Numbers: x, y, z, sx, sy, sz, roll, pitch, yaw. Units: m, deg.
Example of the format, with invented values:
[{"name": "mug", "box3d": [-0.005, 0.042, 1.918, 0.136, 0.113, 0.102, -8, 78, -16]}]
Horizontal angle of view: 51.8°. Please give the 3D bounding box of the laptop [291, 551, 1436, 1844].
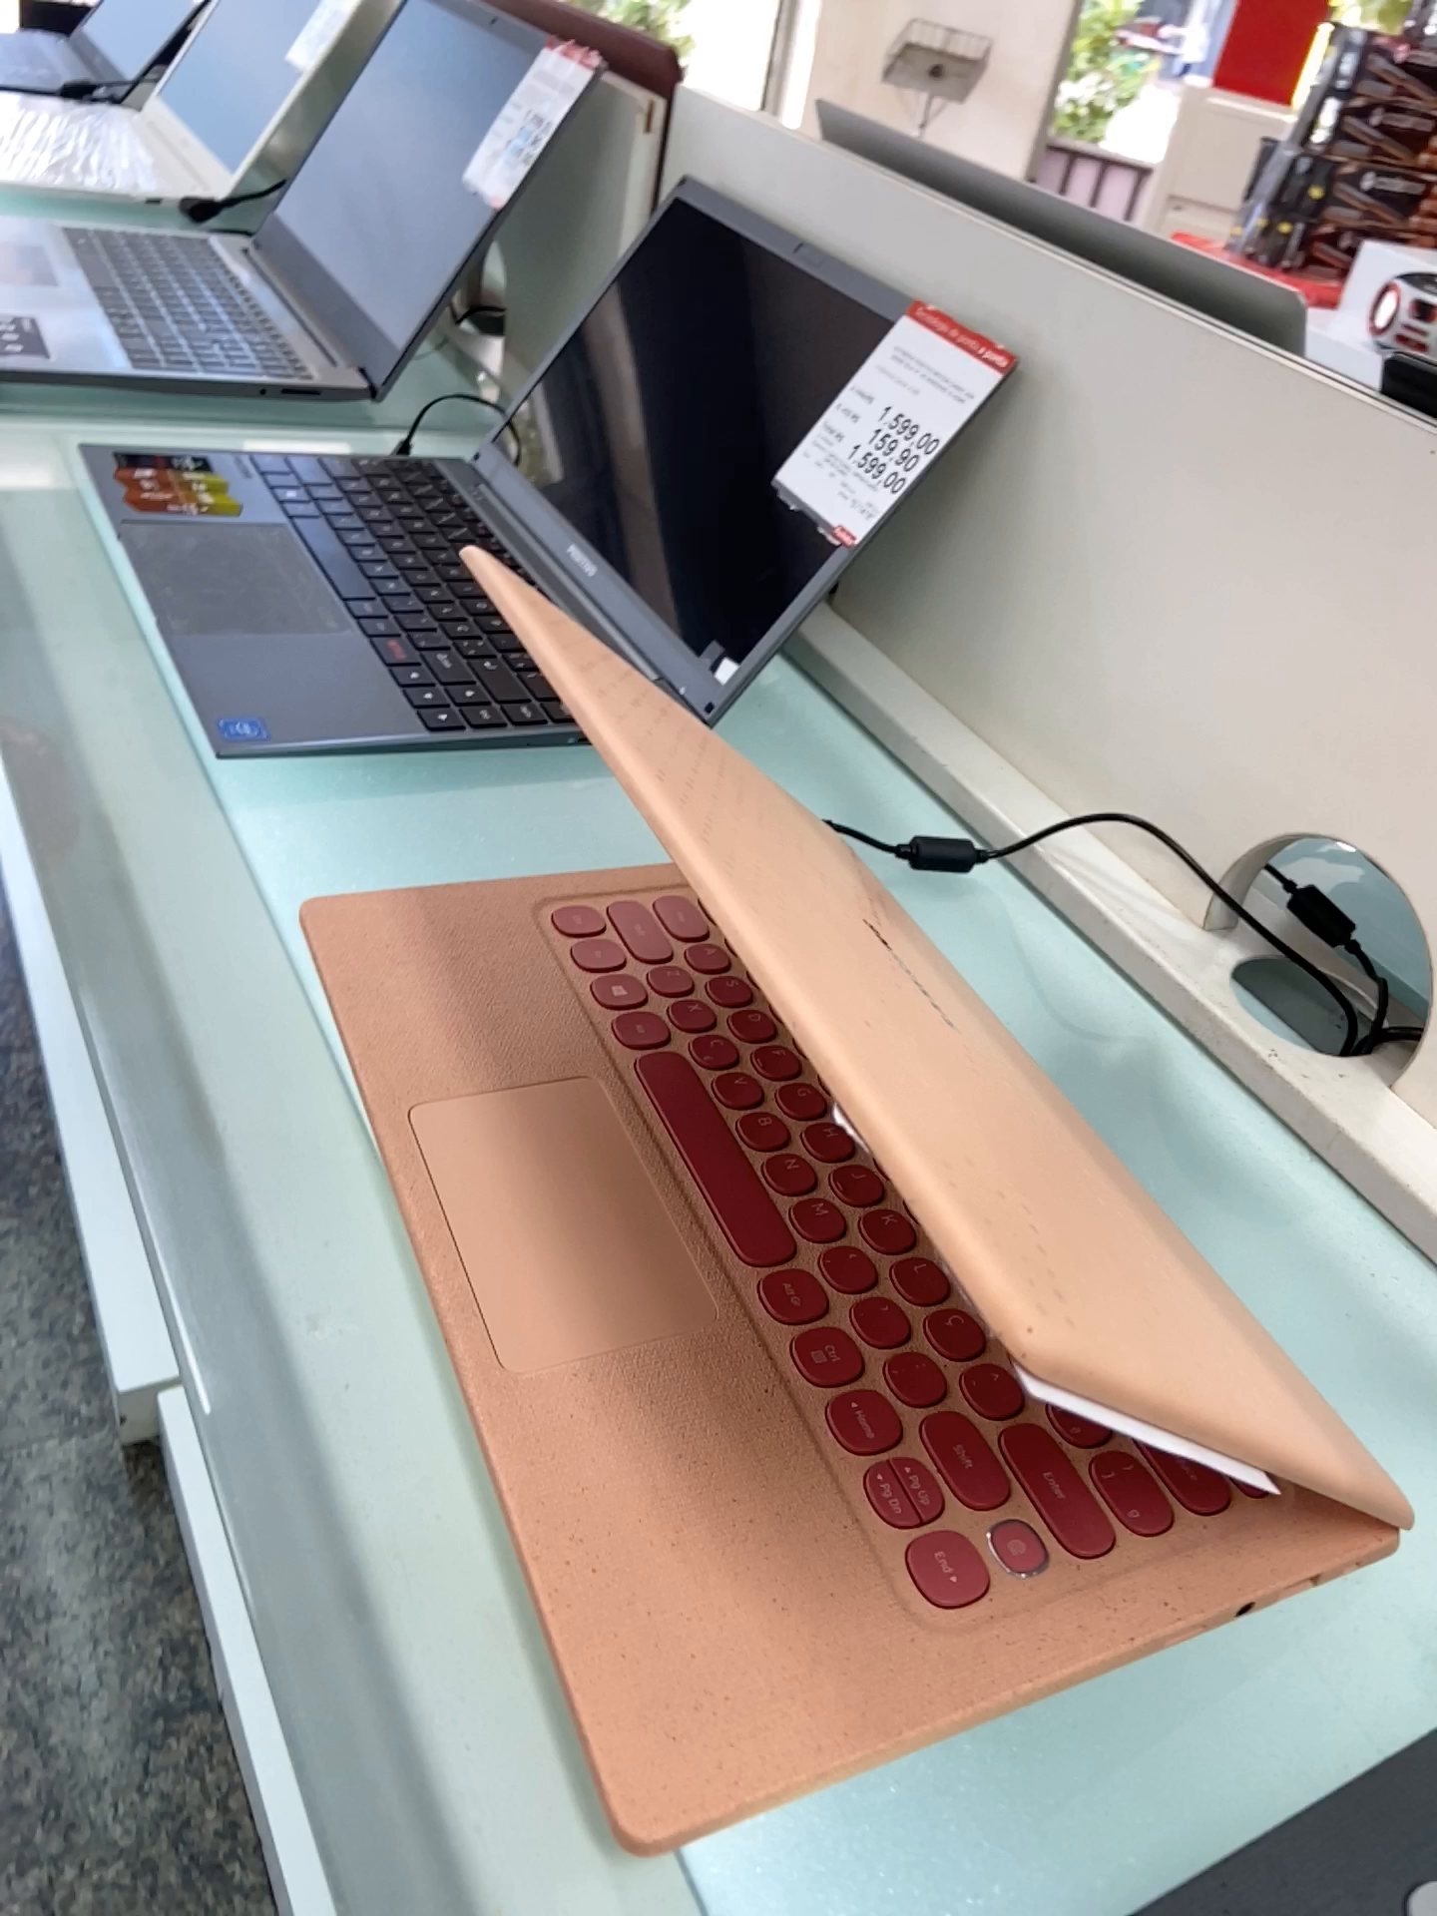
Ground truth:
[{"name": "laptop", "box3d": [0.022, 0.013, 0.410, 0.211, 0.129, 0.324, -7, 39, -25]}]
